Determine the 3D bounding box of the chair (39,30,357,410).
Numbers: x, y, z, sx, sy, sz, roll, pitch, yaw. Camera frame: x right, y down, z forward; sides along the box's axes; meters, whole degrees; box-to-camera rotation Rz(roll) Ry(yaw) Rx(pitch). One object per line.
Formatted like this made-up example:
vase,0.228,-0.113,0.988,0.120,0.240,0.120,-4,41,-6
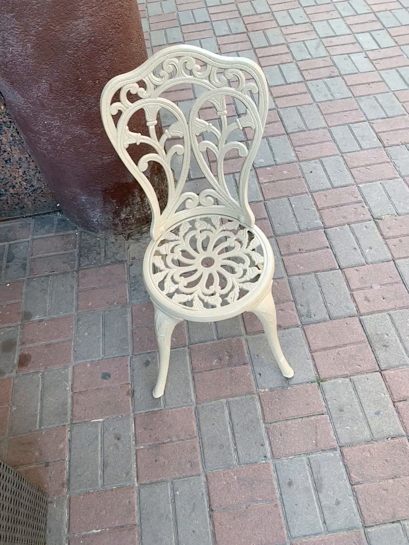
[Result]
chair,-0.009,-0.063,1.108,0.480,0.798,0.552,-8,55,0
